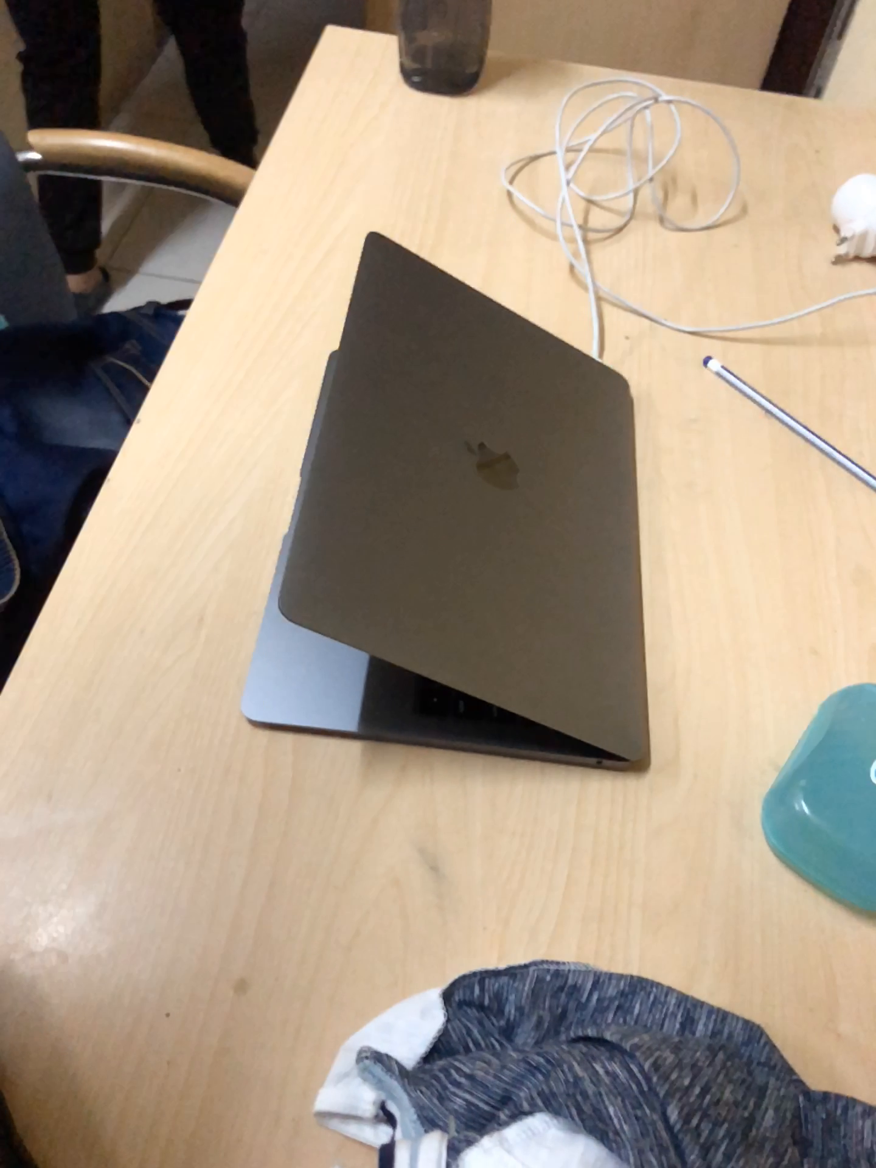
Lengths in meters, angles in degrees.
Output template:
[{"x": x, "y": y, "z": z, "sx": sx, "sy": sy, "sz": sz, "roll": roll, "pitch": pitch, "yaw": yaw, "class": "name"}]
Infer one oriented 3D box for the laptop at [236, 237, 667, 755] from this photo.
[{"x": 0.016, "y": -0.066, "z": 0.557, "sx": 0.193, "sy": 0.094, "sz": 0.295, "roll": 7, "pitch": 52, "yaw": 1, "class": "laptop"}]
